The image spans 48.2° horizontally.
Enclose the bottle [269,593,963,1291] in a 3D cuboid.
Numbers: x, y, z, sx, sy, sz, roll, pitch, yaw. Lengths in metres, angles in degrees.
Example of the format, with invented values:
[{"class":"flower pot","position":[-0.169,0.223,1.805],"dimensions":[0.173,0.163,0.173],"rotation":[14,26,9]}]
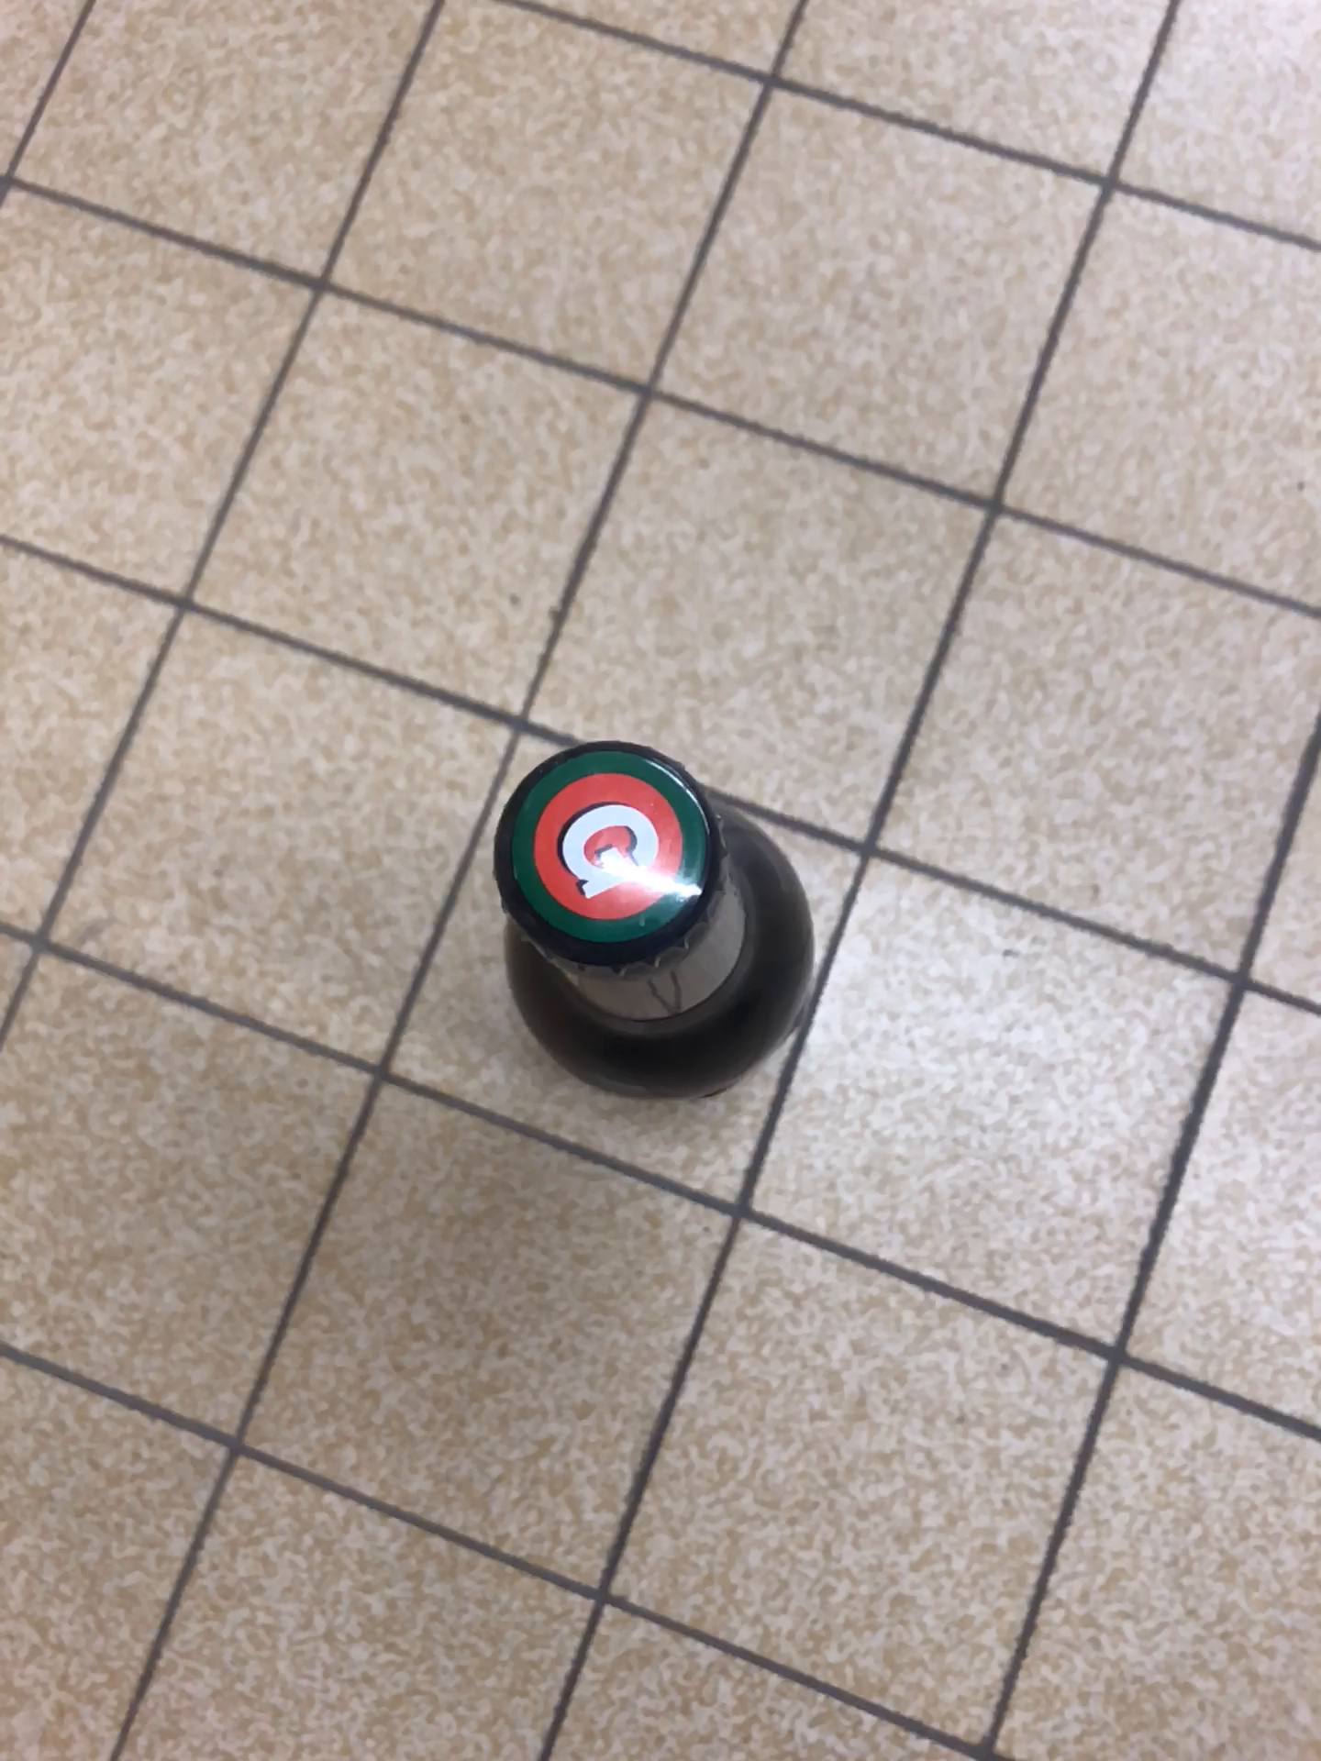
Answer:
[{"class":"bottle","position":[0.000,0.021,0.279],"dimensions":[0.070,0.220,0.070],"rotation":[0,82,4]}]
